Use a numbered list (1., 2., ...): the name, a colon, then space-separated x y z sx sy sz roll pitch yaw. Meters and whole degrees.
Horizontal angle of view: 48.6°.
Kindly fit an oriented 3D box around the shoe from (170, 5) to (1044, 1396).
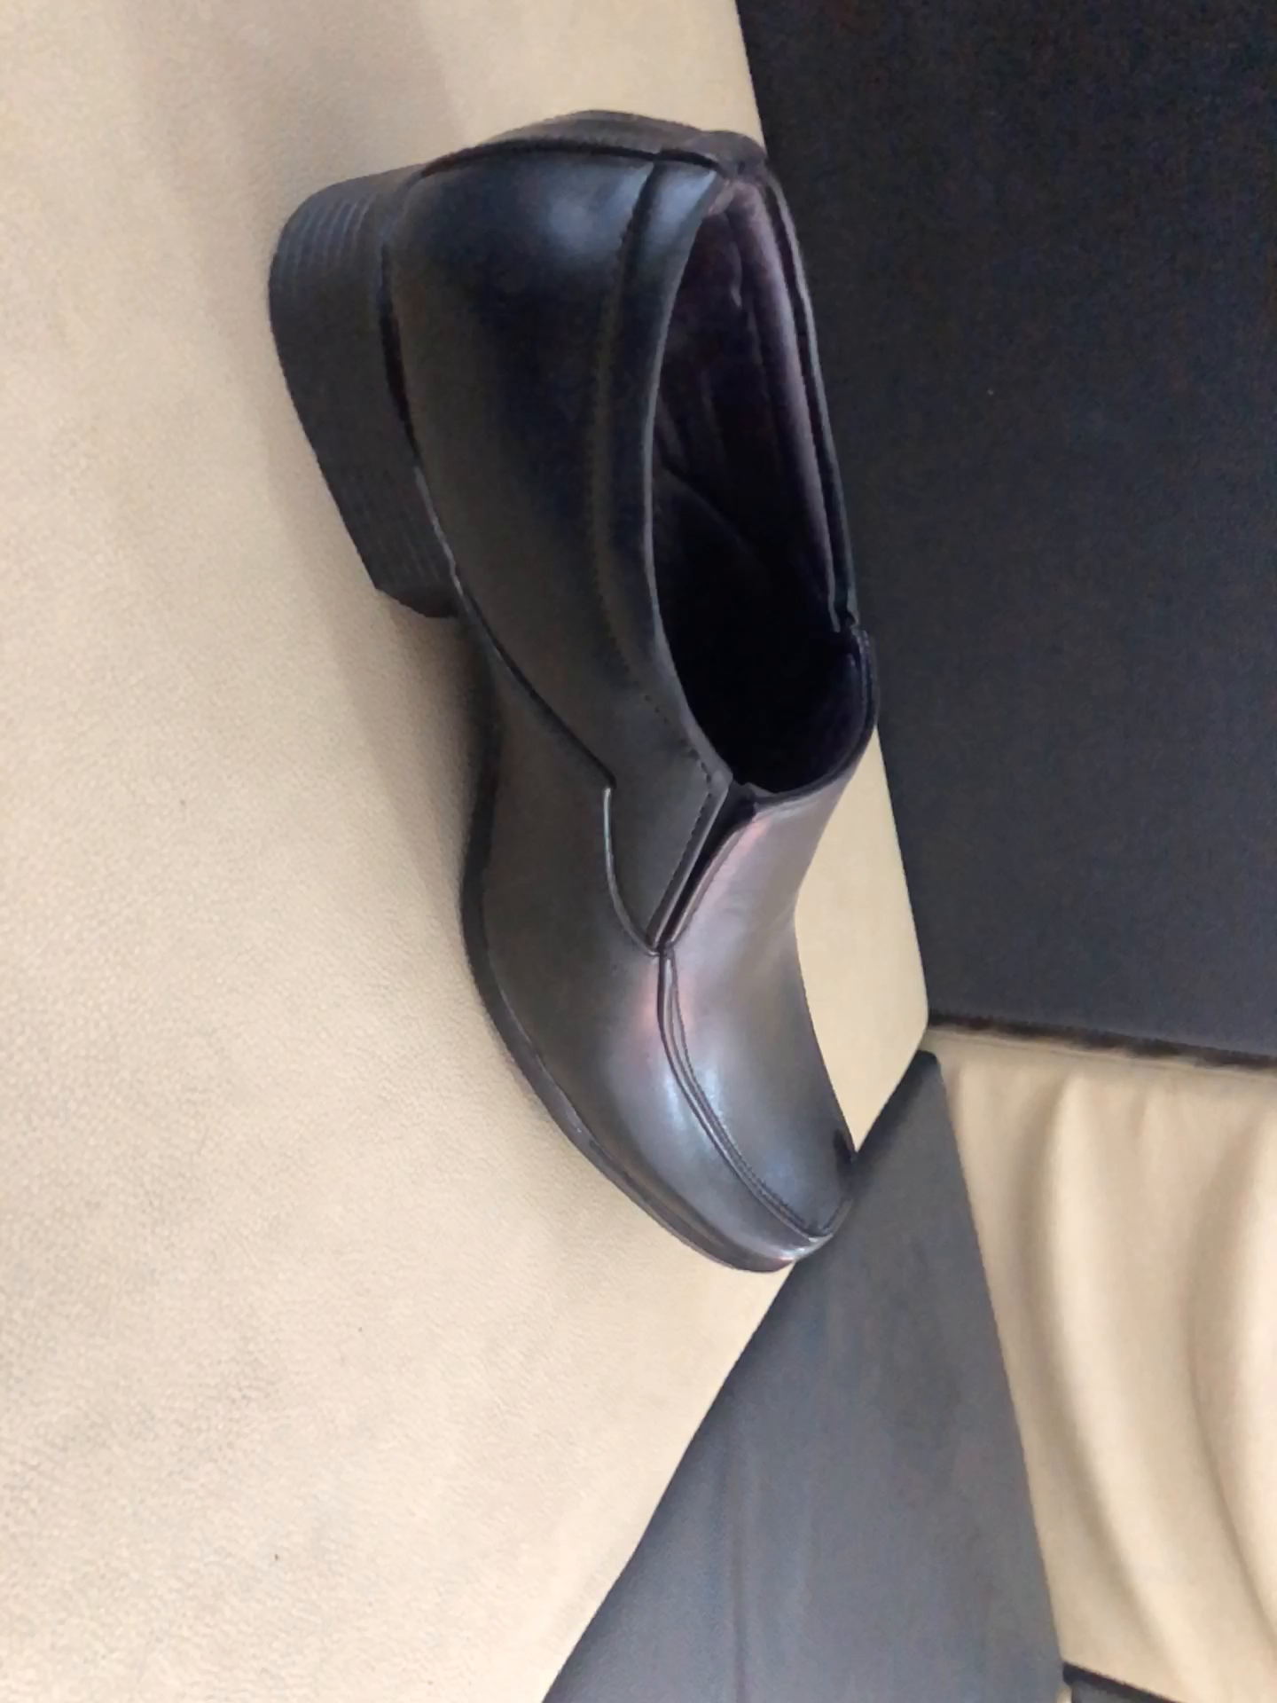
1. shoe: 0.016 -0.019 0.336 0.100 0.089 0.291 -47 129 -43
